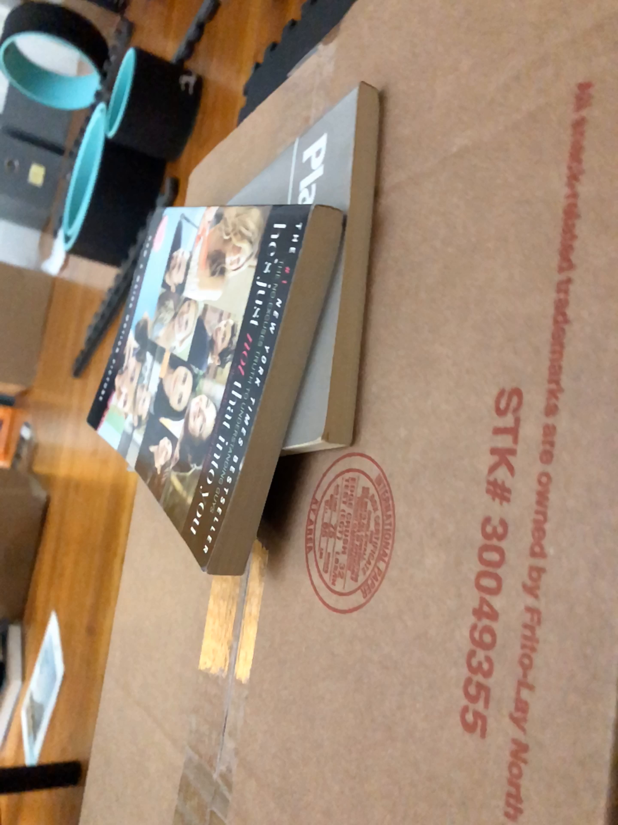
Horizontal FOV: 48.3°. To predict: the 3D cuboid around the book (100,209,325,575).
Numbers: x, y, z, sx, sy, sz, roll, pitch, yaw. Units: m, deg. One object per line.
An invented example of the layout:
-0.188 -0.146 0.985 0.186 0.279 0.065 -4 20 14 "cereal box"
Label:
-0.070 -0.032 0.374 0.231 0.010 0.150 28 103 60 "book"
